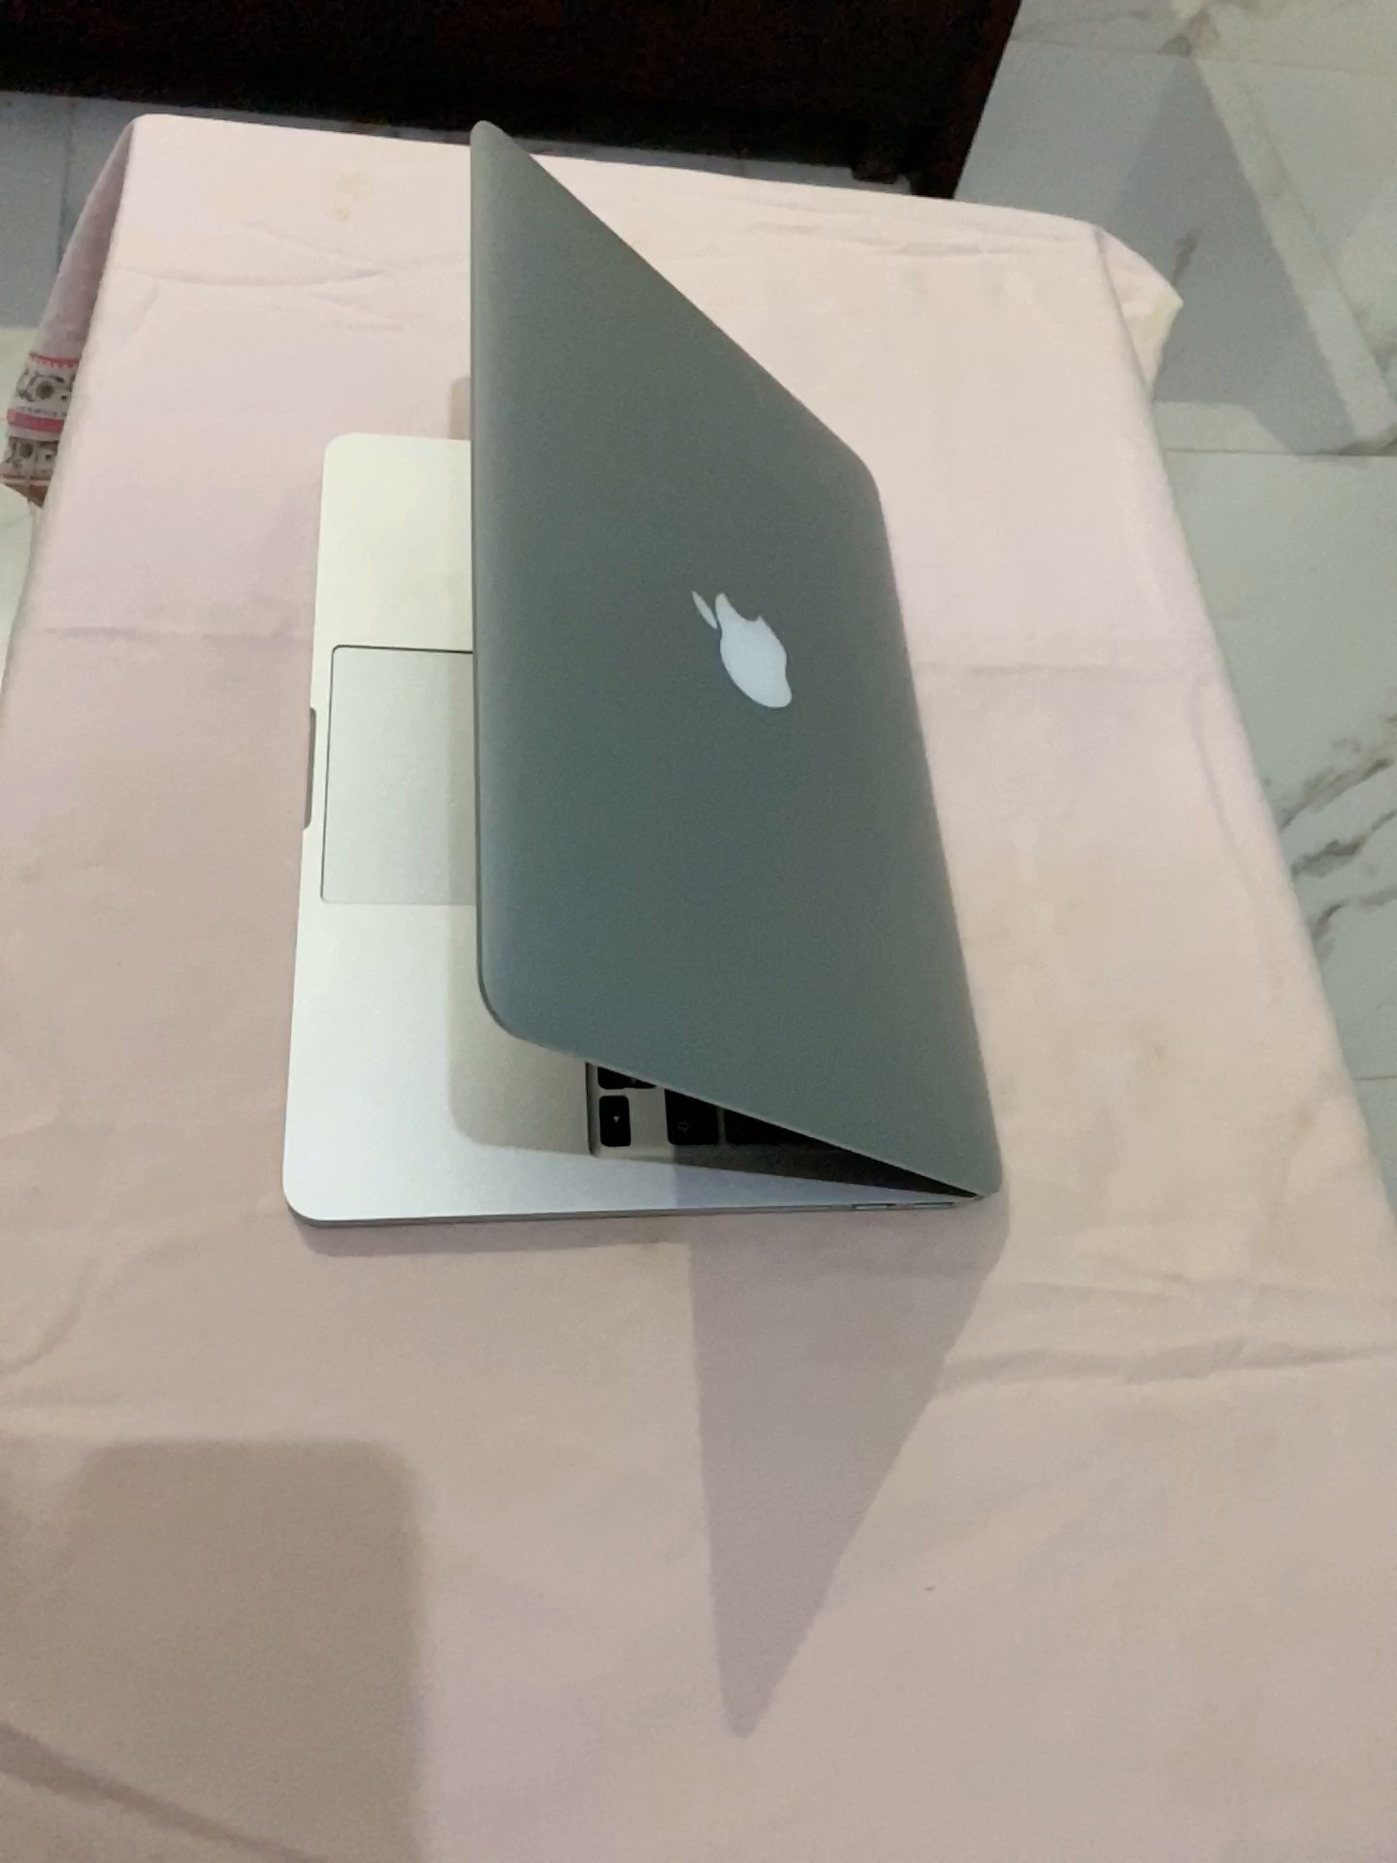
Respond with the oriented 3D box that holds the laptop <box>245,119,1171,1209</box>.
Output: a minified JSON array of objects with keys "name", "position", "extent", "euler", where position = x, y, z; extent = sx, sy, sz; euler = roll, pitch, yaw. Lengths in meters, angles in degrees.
[{"name":"laptop","position":[-0.017,-0.083,0.443],"extent":[0.208,0.139,0.297],"euler":[0,63,-10]}]
